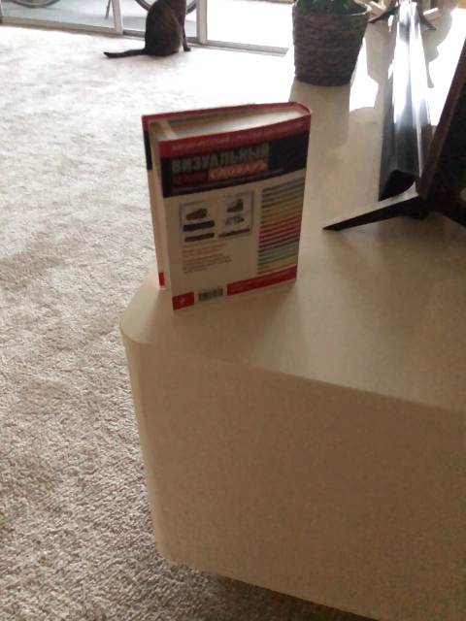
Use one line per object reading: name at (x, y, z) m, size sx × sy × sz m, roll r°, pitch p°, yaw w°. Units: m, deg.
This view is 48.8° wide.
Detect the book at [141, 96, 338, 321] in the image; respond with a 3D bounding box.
book at (0.002, -0.092, 0.481) m, size 0.150 × 0.179 × 0.060 m, roll -13°, pitch 43°, yaw -17°
